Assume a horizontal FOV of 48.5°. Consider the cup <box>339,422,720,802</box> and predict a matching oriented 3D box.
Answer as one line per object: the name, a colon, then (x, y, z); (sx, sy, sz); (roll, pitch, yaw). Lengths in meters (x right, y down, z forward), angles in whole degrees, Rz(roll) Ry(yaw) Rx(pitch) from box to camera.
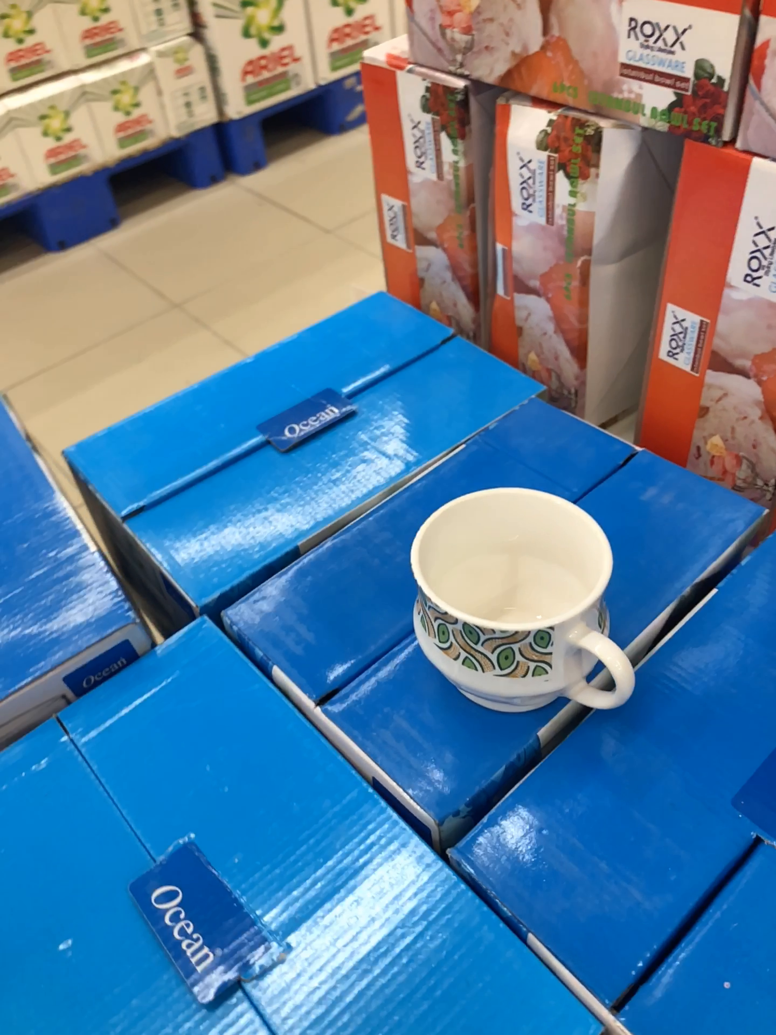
cup: (0.046, 0.028, 0.299); (0.070, 0.060, 0.100); (-36, 52, -25)
